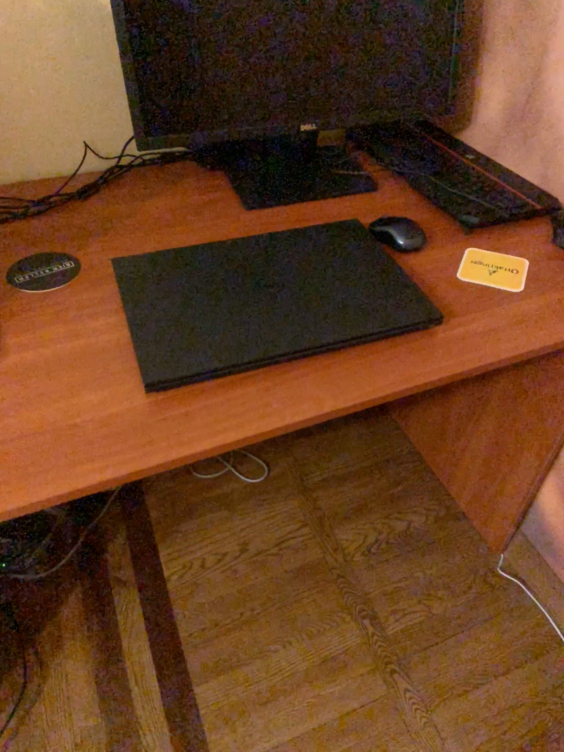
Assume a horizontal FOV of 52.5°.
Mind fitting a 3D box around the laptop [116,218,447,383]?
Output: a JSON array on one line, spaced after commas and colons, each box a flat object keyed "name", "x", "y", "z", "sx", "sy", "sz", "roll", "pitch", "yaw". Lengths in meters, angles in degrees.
[{"name": "laptop", "x": -0.011, "y": -0.113, "z": 0.709, "sx": 0.351, "sy": 0.001, "sz": 0.248, "roll": -13, "pitch": 44, "yaw": -16}]
